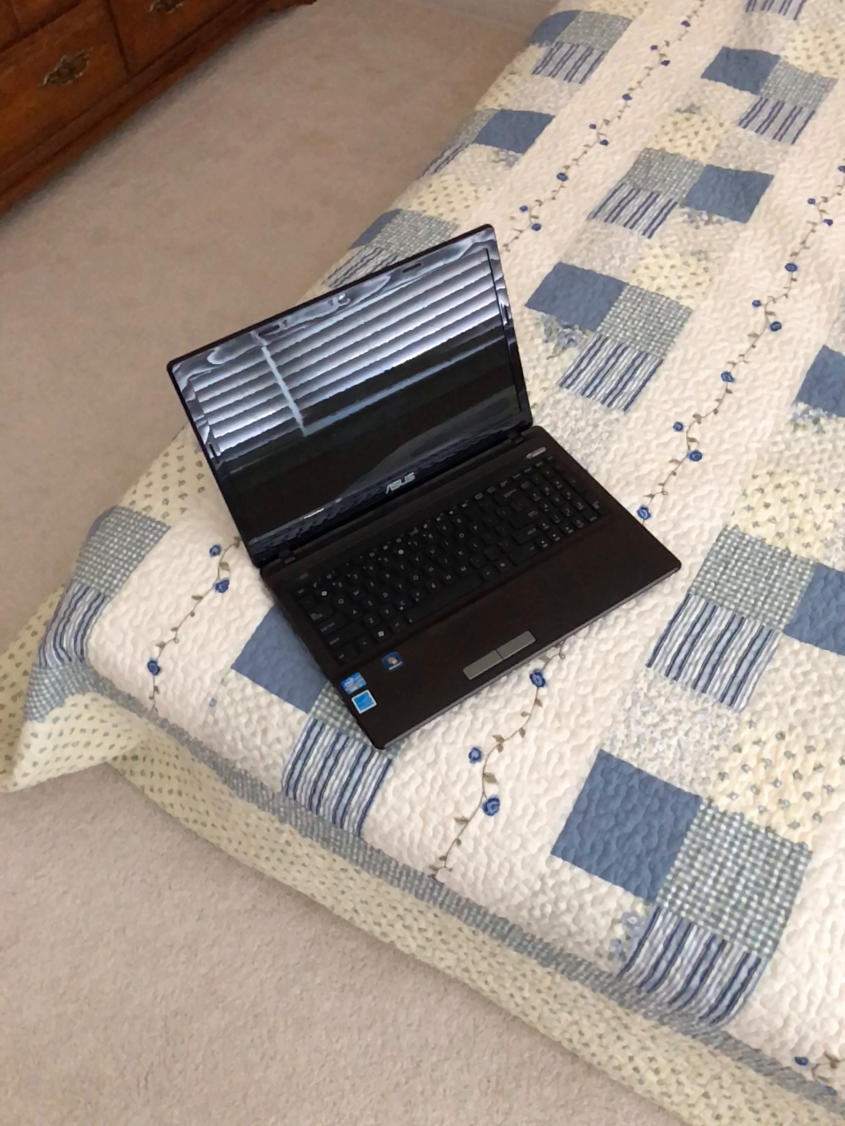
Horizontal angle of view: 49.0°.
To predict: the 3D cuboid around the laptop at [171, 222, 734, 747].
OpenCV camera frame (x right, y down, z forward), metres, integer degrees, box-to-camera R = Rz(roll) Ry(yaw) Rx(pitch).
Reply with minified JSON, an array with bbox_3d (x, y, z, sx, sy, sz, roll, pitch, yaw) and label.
[{"bbox_3d":[0.018,-0.091,0.893,0.358,0.193,0.351,-29,60,-17],"label":"laptop"}]
